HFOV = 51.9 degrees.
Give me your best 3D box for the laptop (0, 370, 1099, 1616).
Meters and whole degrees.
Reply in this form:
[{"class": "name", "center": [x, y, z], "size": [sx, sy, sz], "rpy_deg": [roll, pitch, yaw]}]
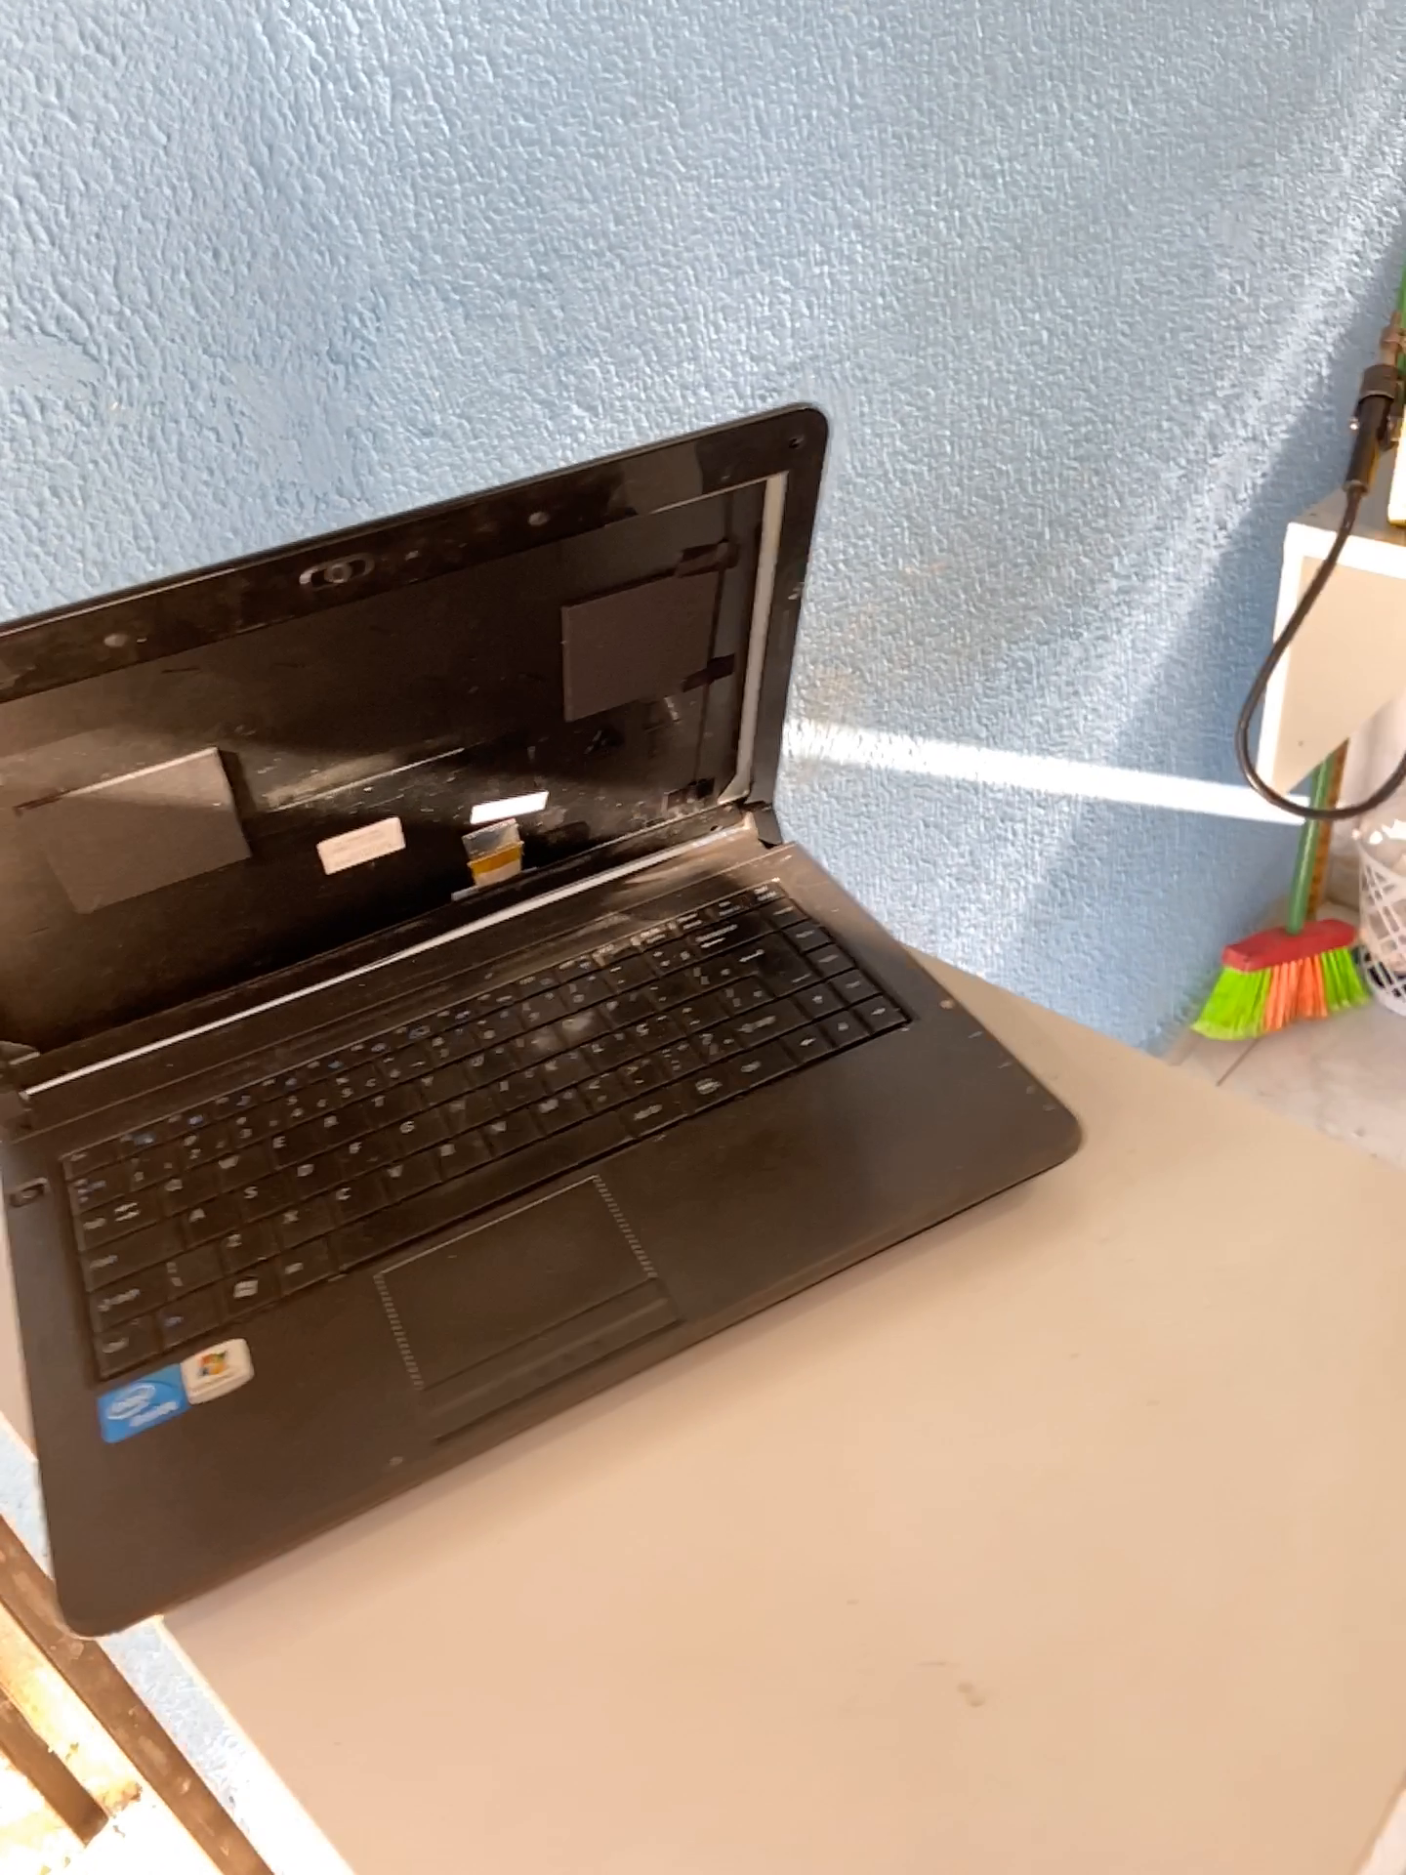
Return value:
[{"class": "laptop", "center": [-0.079, -0.009, 0.455], "size": [0.331, 0.206, 0.207], "rpy_deg": [-22, 39, -16]}]
